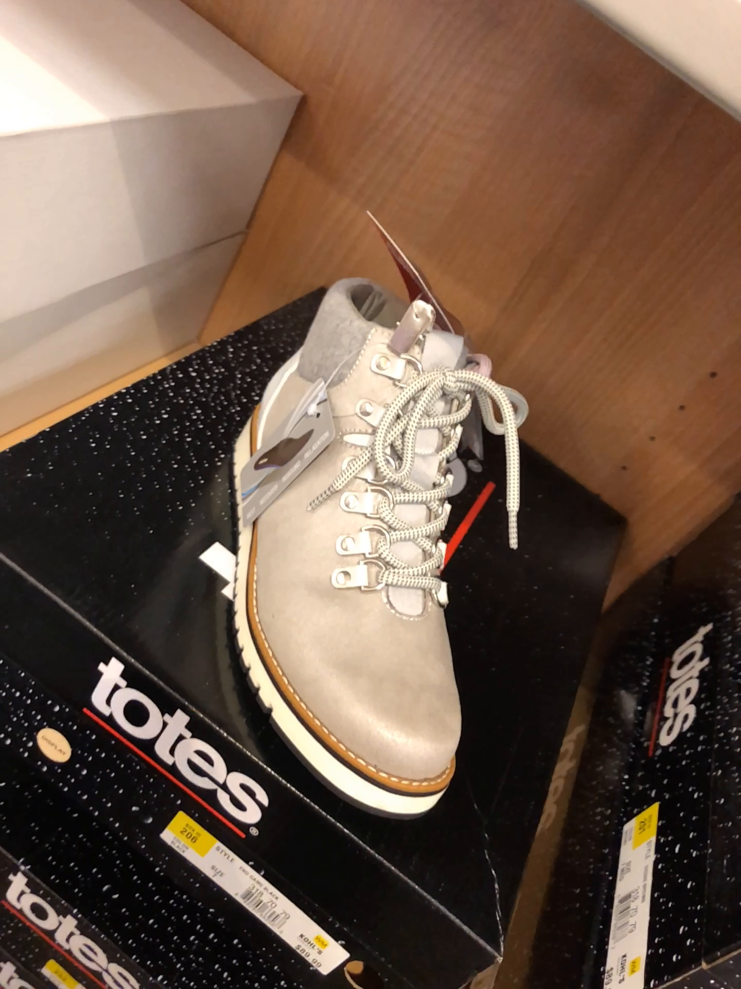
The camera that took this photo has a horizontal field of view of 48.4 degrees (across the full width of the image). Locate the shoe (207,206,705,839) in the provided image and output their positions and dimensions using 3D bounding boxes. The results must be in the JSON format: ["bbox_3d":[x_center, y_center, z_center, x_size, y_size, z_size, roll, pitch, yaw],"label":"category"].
[{"bbox_3d":[0.011,0.006,0.360,0.100,0.134,0.228,12,41,-30],"label":"shoe"}]
